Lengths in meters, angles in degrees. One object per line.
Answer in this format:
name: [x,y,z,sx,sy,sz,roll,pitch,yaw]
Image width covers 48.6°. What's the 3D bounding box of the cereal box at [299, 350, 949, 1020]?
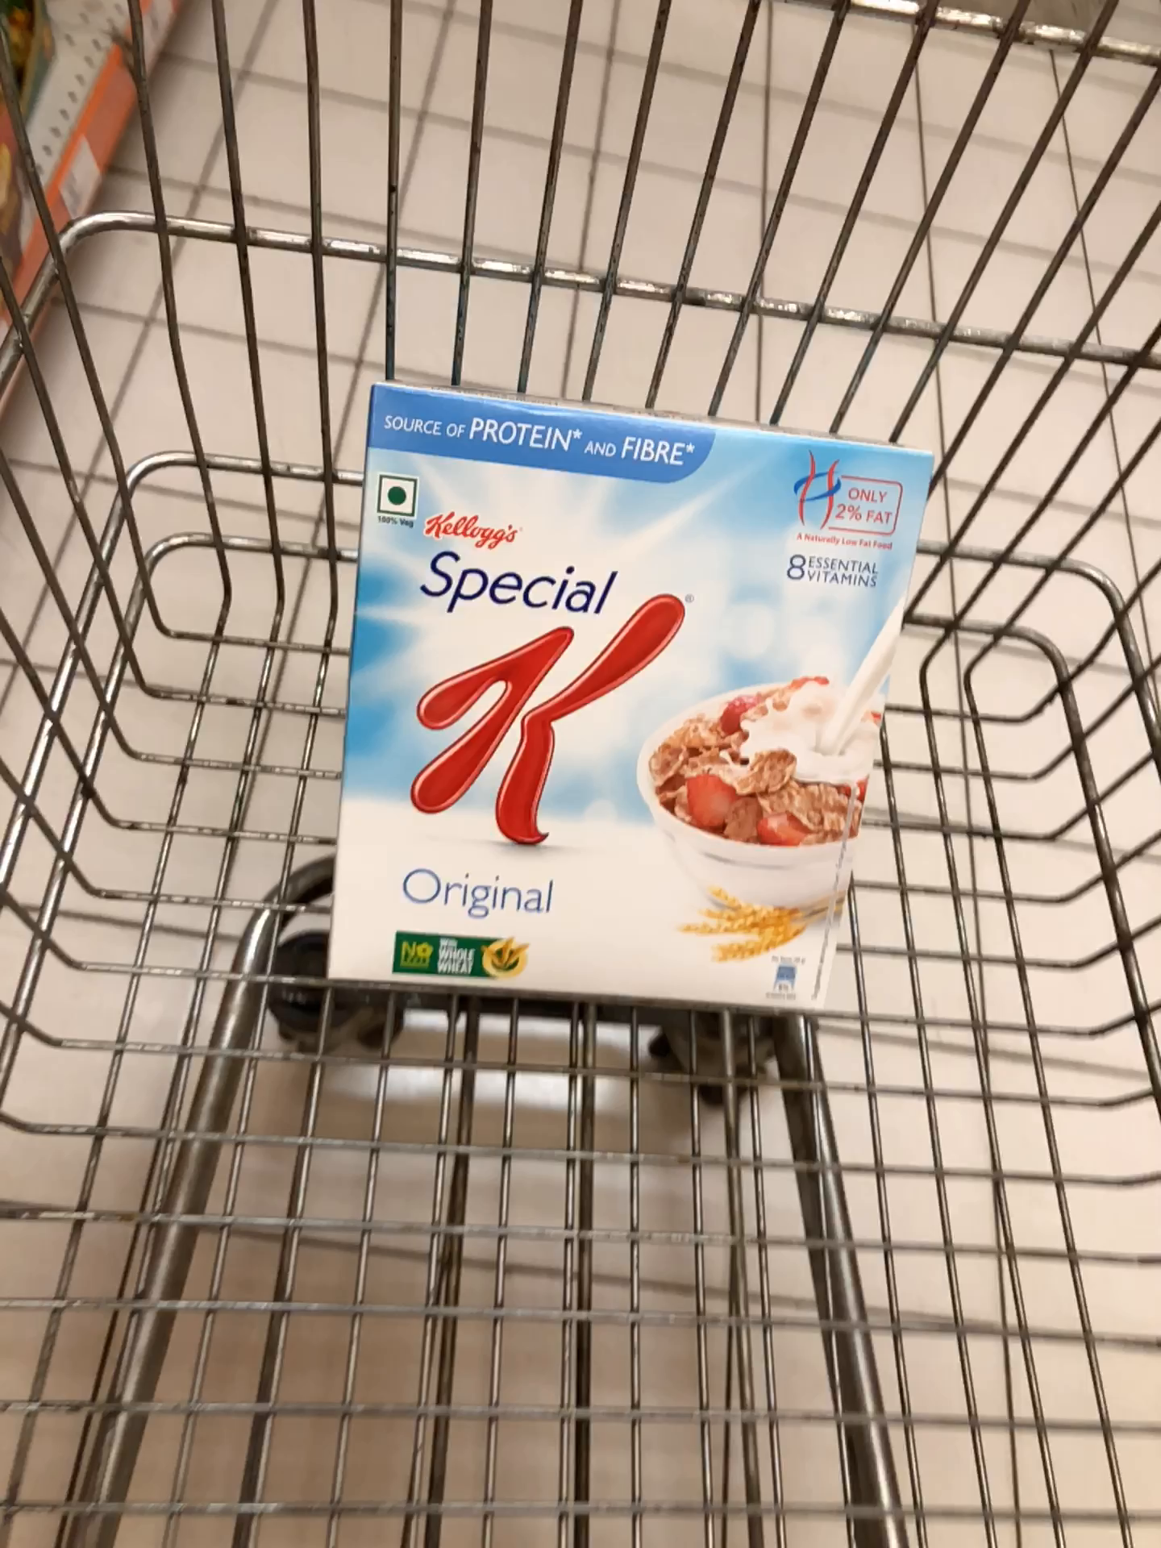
cereal box: [0.006,-0.028,0.458,0.190,0.209,0.070,5,18,-9]
